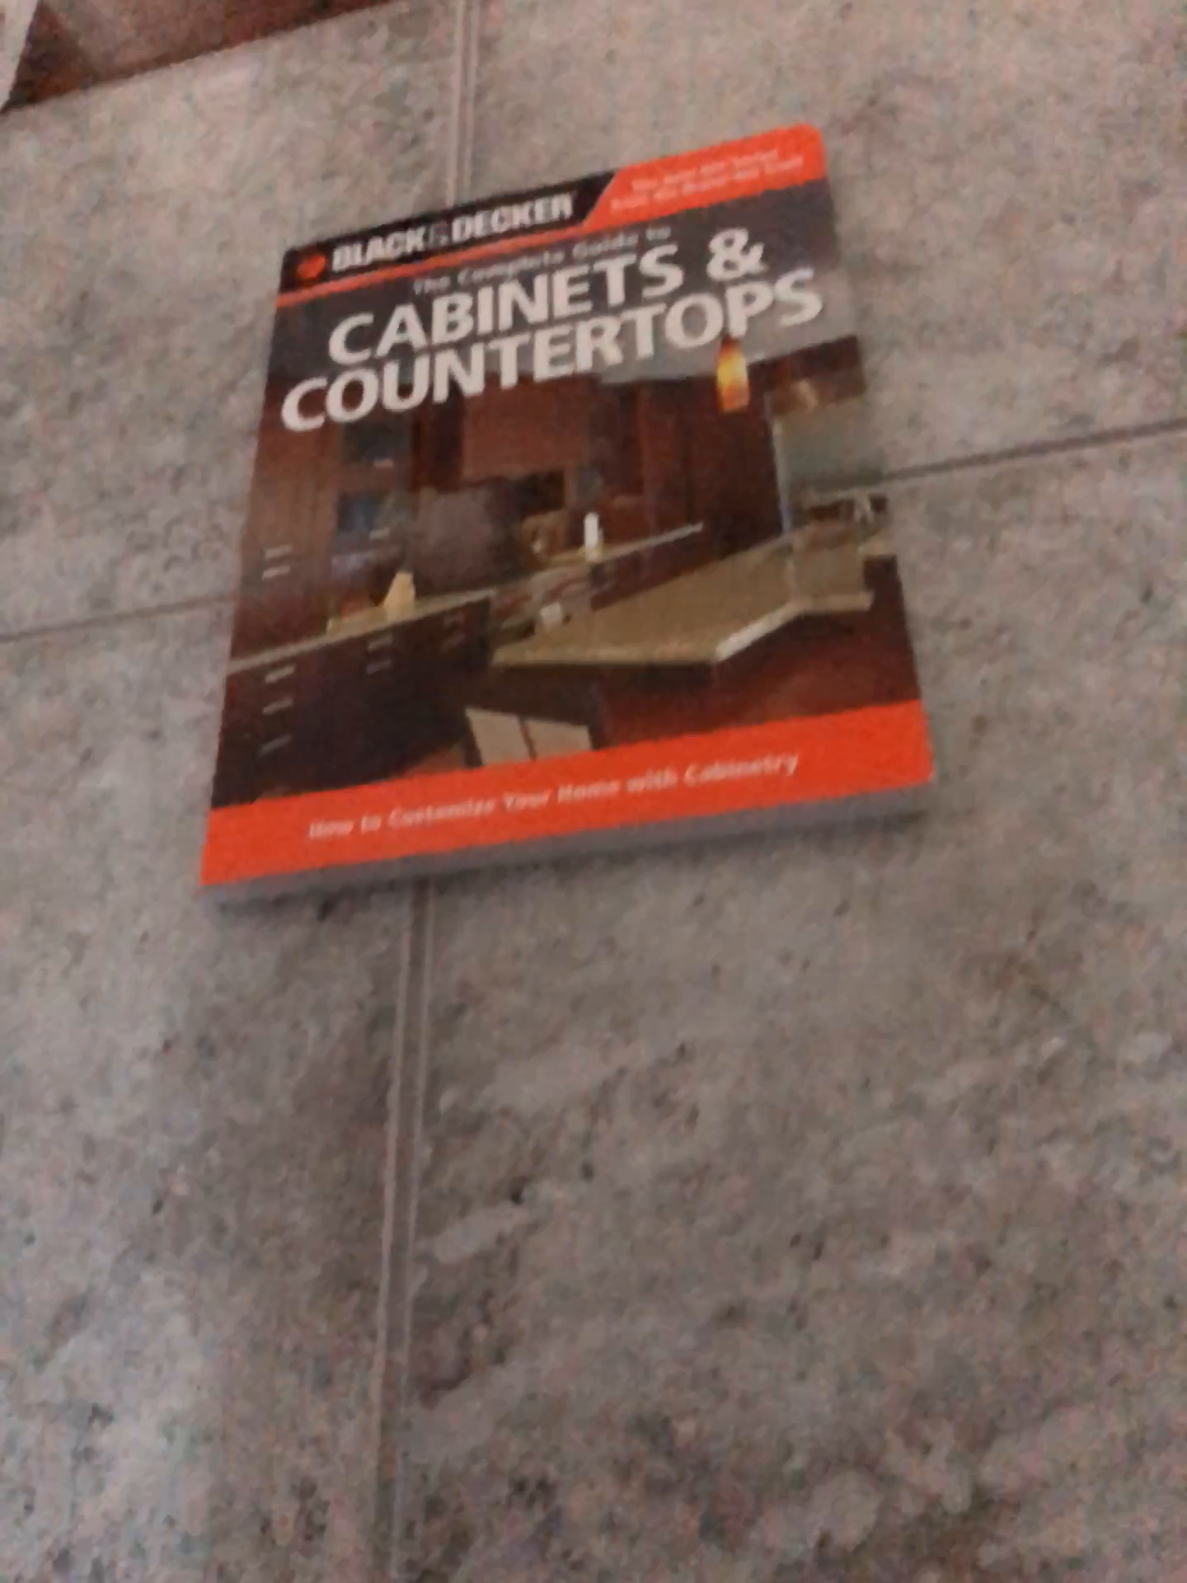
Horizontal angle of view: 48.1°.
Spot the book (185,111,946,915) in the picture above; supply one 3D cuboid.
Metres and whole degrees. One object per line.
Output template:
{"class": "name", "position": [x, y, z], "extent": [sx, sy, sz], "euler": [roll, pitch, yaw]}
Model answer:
{"class": "book", "position": [-0.014, -0.104, 0.444], "extent": [0.216, 0.022, 0.281], "euler": [-8, 59, 12]}
